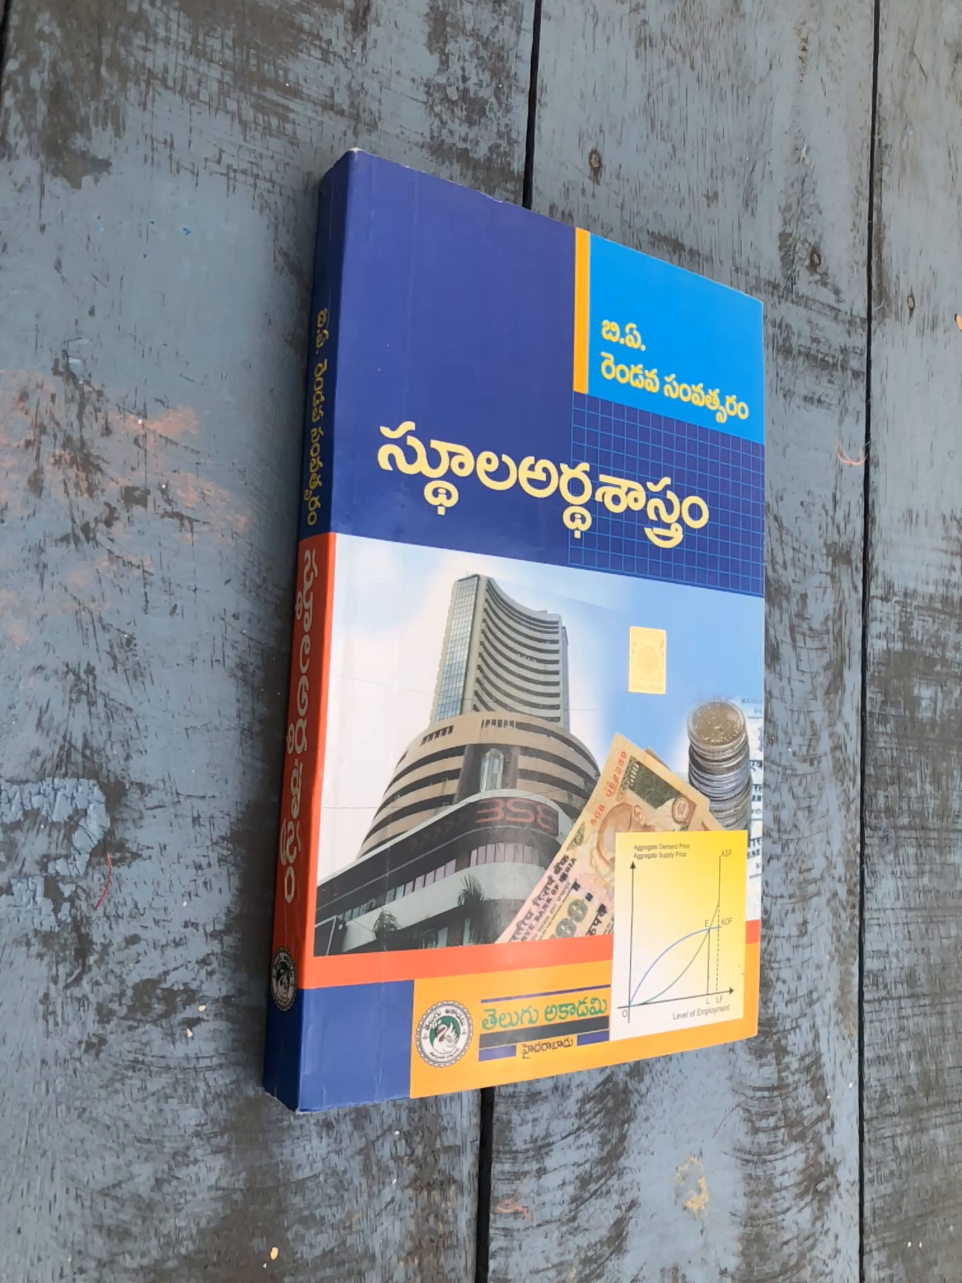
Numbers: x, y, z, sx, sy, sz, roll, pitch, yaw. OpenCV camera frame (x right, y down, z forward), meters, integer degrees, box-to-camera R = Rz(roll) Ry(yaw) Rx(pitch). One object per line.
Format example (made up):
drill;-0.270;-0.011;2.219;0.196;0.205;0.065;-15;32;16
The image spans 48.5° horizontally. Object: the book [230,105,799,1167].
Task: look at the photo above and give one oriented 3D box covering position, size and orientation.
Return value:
book;0.021;0.001;0.311;0.171;0.030;0.250;5;86;-35
